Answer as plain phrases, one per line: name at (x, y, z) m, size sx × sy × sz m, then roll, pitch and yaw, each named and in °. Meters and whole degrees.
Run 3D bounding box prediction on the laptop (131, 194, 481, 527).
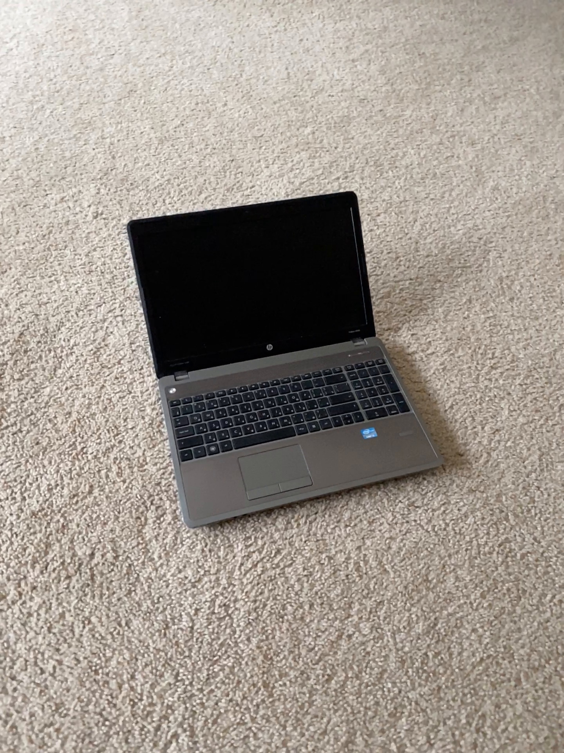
laptop at (0.001, -0.053, 0.856) m, size 0.374 × 0.162 × 0.437 m, roll -11°, pitch 53°, yaw -11°
